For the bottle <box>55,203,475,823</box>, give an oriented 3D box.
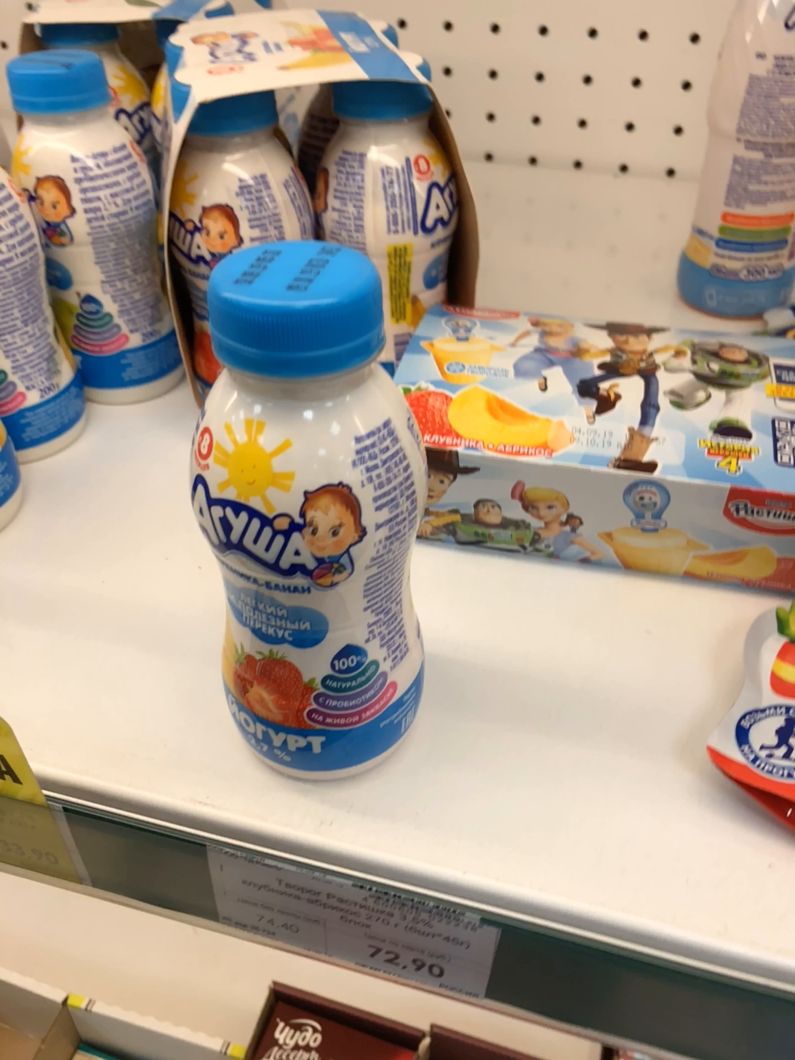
[{"bbox_3d":[-0.023,-0.001,0.215,0.060,0.129,0.060,-1,39,1],"label":"bottle"}]
